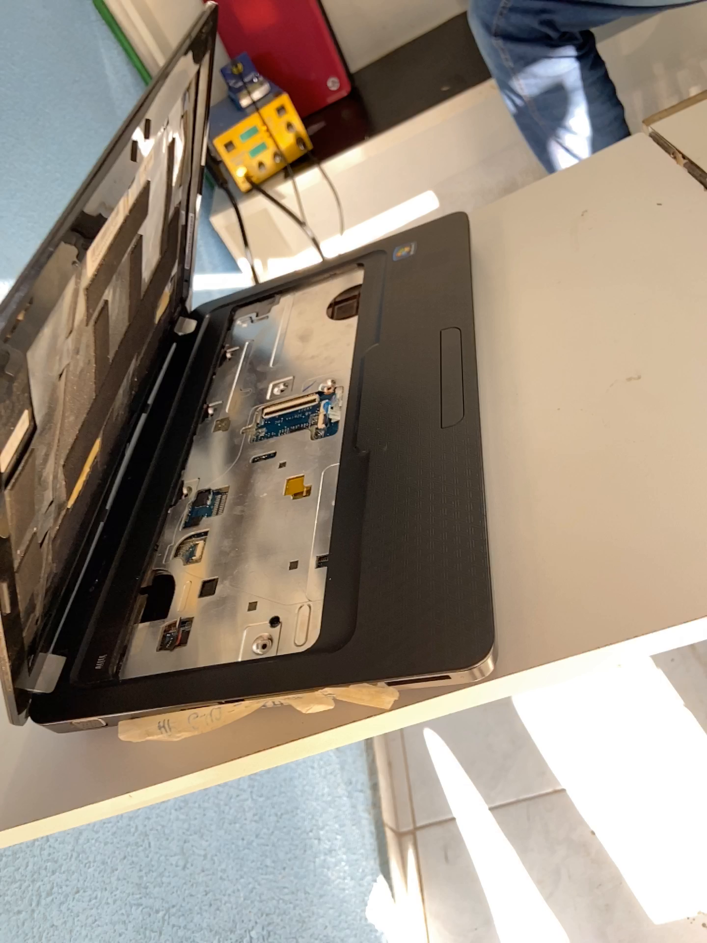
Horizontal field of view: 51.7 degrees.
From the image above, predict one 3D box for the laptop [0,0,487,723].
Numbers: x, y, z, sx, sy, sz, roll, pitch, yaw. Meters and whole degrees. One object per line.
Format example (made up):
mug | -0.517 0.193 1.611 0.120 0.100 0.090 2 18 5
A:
laptop | -0.076 -0.078 0.360 0.222 0.153 0.328 -15 42 21
